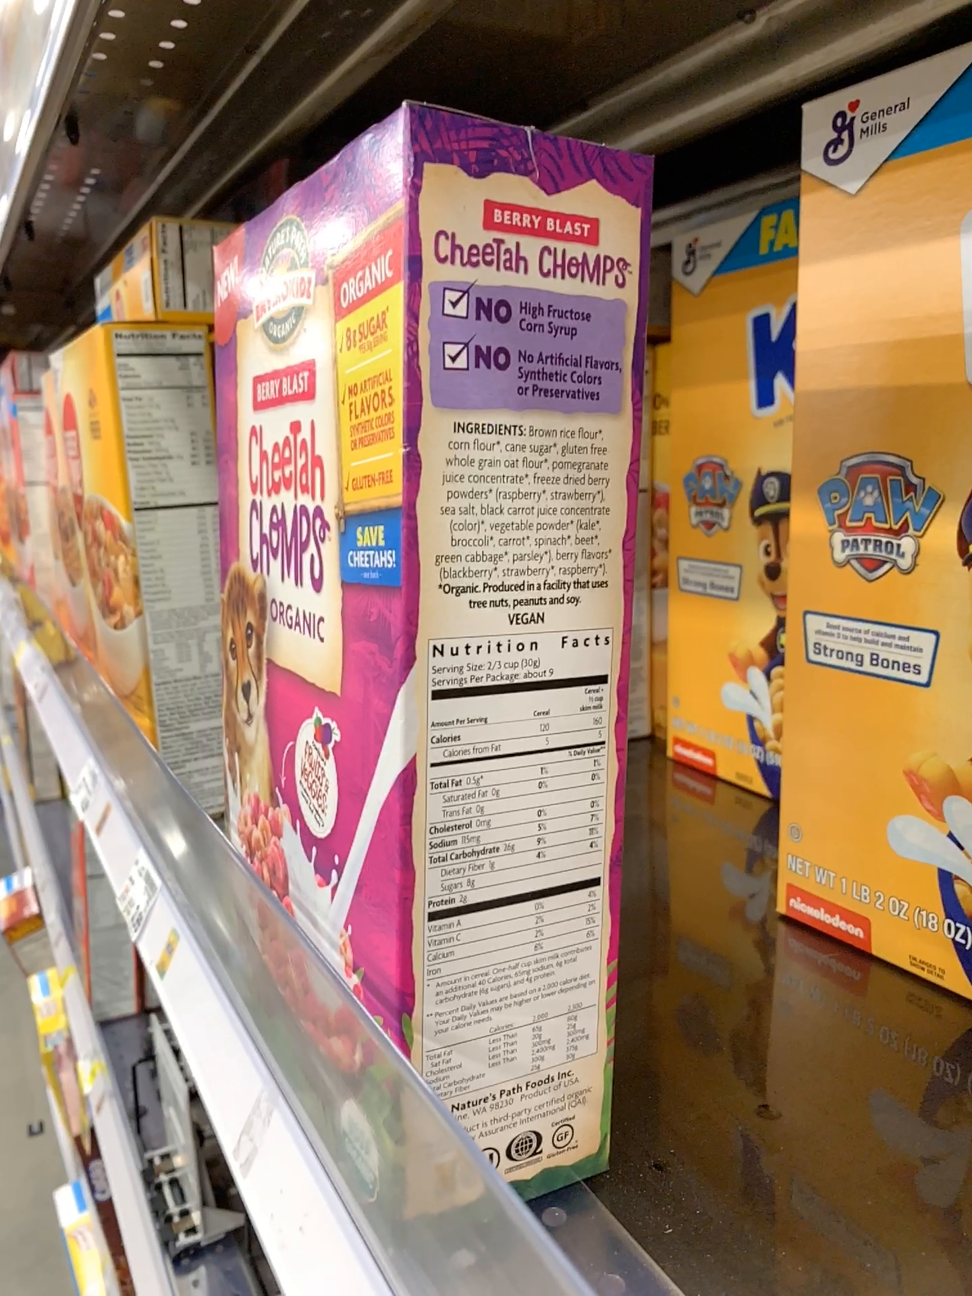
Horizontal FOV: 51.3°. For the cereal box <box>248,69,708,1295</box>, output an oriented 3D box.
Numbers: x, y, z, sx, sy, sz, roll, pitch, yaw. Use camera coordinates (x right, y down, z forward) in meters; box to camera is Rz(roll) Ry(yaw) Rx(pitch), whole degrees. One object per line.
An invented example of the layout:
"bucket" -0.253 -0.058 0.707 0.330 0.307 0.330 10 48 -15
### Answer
"cereal box" -0.018 0.008 0.298 0.060 0.269 0.160 -3 10 -27
